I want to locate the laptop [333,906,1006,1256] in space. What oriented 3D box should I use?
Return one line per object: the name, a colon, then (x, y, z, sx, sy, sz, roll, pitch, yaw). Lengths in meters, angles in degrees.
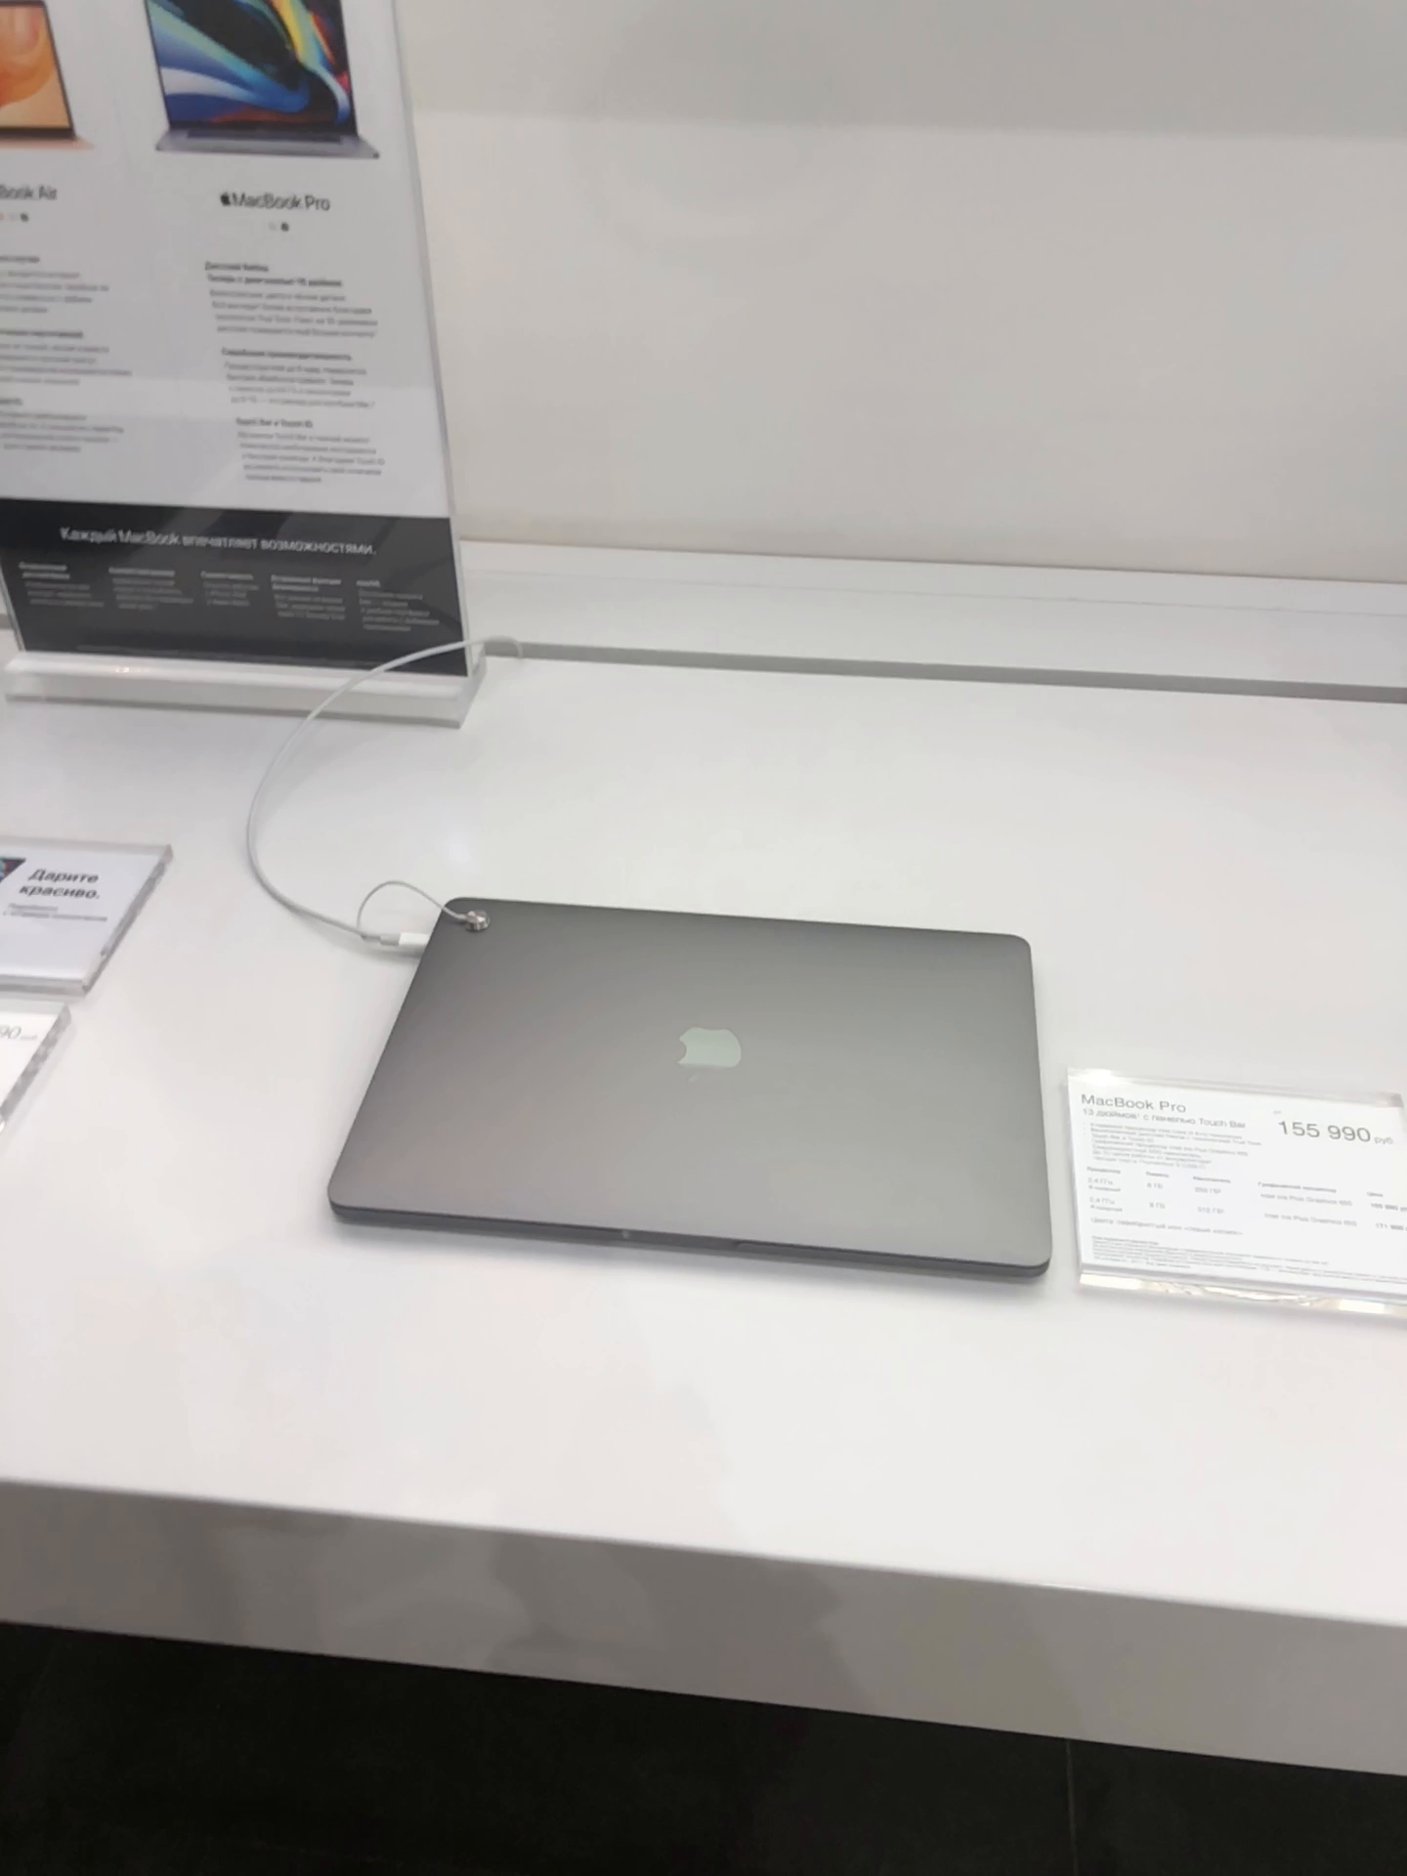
laptop: (-0.005, 0.055, 0.711, 0.279, 0.001, 0.203, 3, 39, 7)
